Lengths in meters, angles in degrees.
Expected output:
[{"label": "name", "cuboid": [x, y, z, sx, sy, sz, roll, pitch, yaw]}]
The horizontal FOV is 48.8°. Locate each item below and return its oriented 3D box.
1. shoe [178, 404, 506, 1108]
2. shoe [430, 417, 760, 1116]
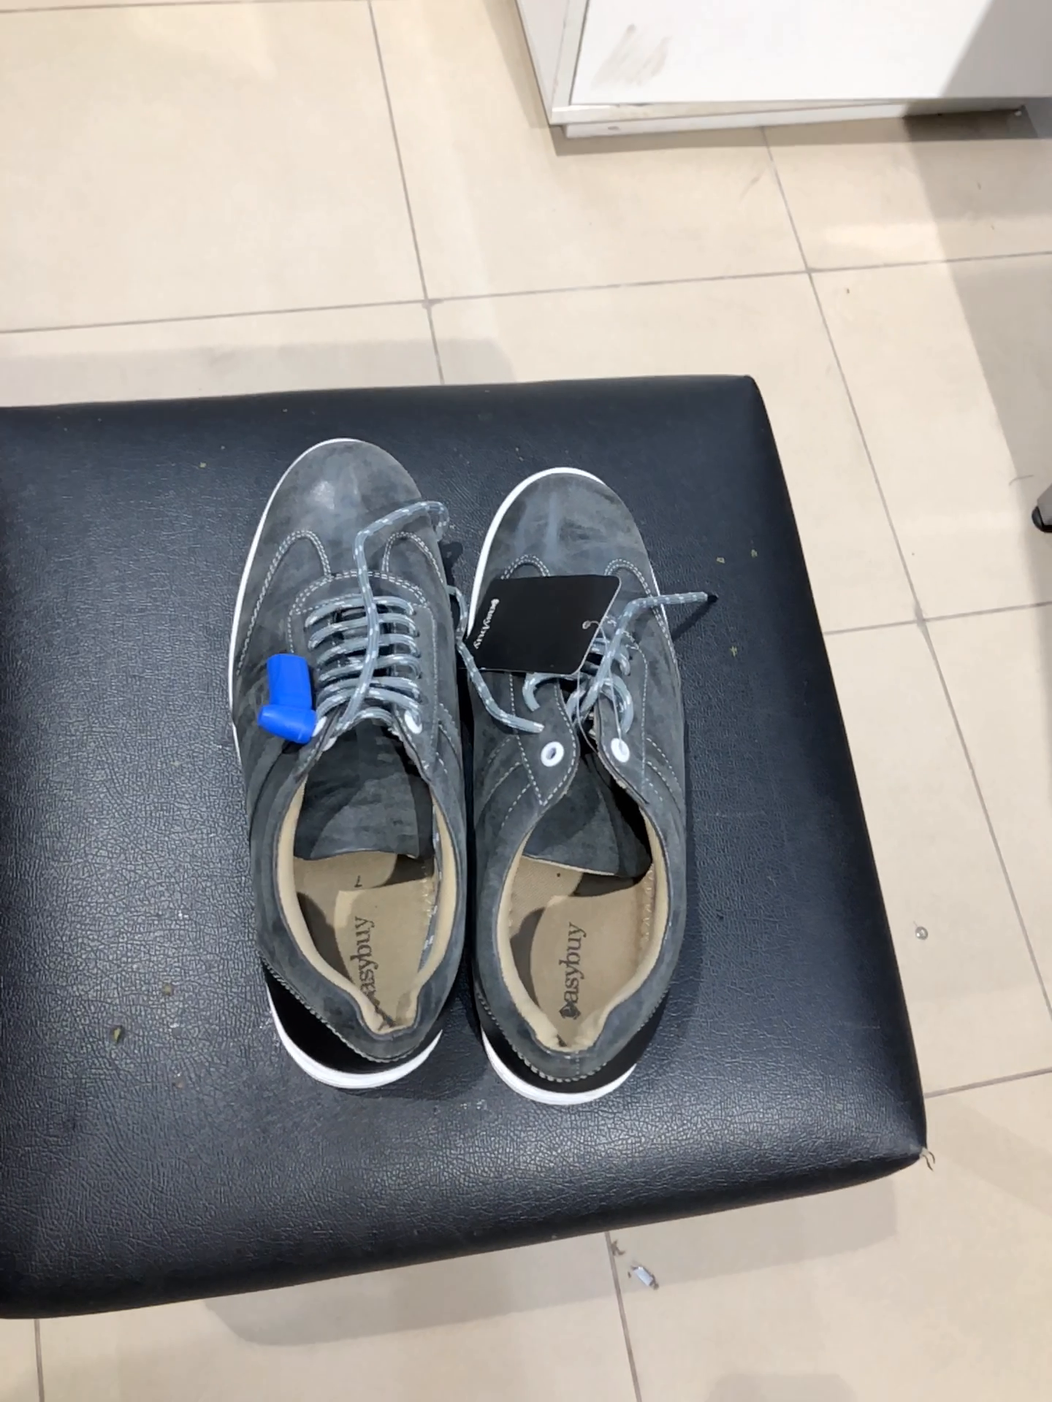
[{"label": "shoe", "cuboid": [-0.072, 0.021, 0.451, 0.100, 0.107, 0.249, -2, 70, -8]}, {"label": "shoe", "cuboid": [0.023, 0.029, 0.456, 0.100, 0.107, 0.249, 4, 69, -6]}]
